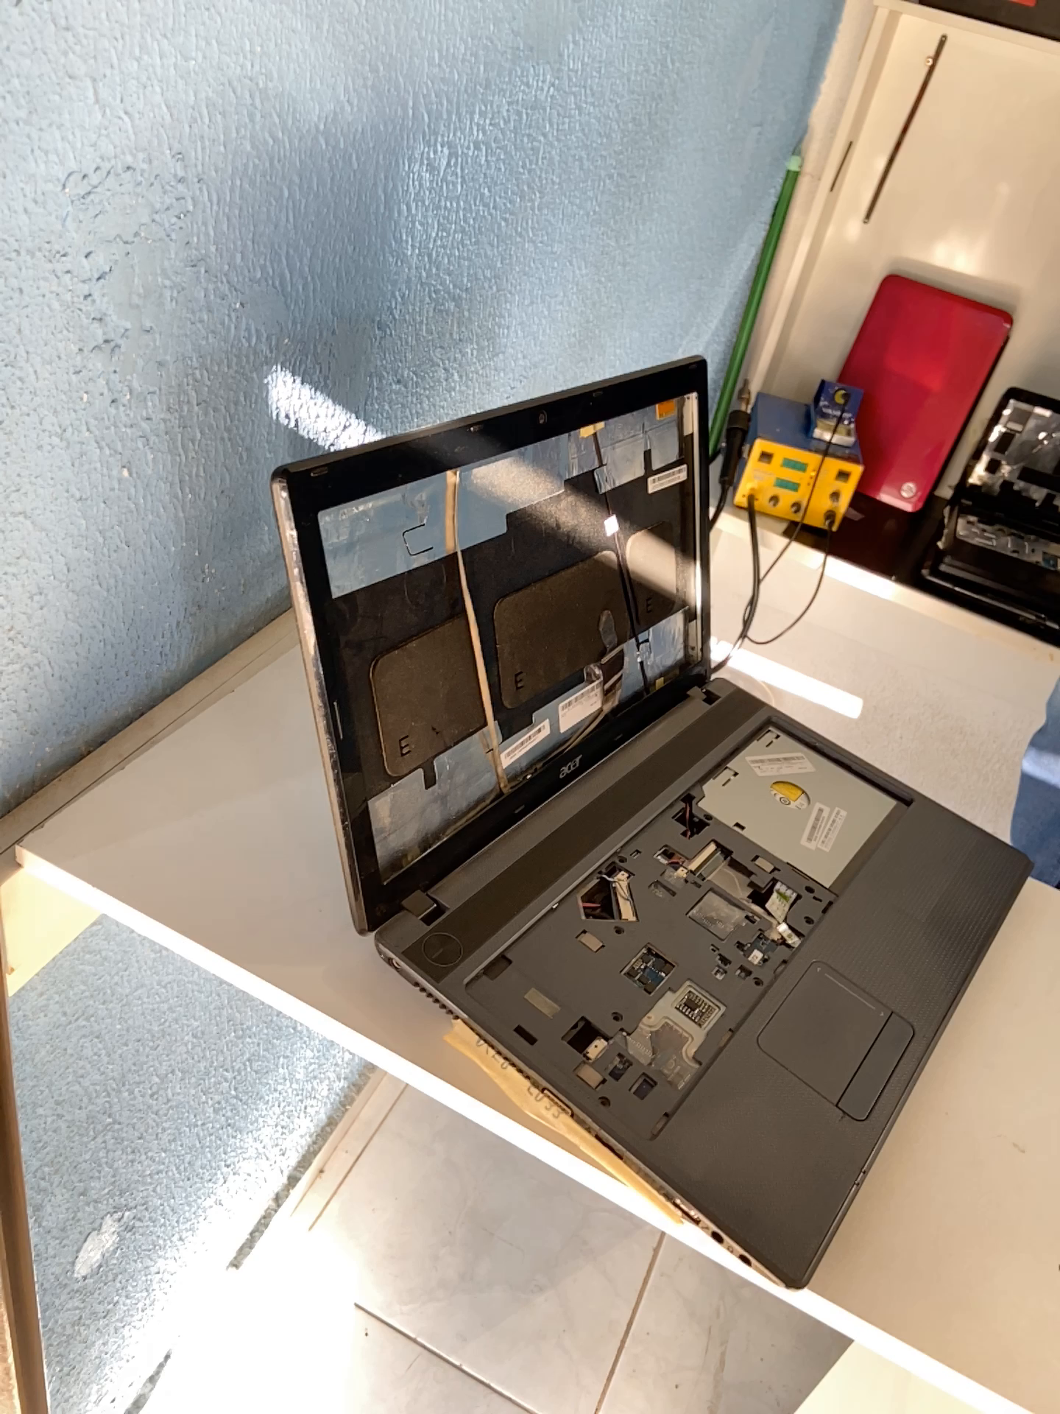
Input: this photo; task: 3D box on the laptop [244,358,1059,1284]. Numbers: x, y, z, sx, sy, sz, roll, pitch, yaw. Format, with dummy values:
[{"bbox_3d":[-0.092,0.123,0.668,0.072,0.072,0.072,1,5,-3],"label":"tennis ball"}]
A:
[{"bbox_3d":[0.114,0.000,0.600,0.349,0.210,0.380,33,39,24],"label":"laptop"}]
